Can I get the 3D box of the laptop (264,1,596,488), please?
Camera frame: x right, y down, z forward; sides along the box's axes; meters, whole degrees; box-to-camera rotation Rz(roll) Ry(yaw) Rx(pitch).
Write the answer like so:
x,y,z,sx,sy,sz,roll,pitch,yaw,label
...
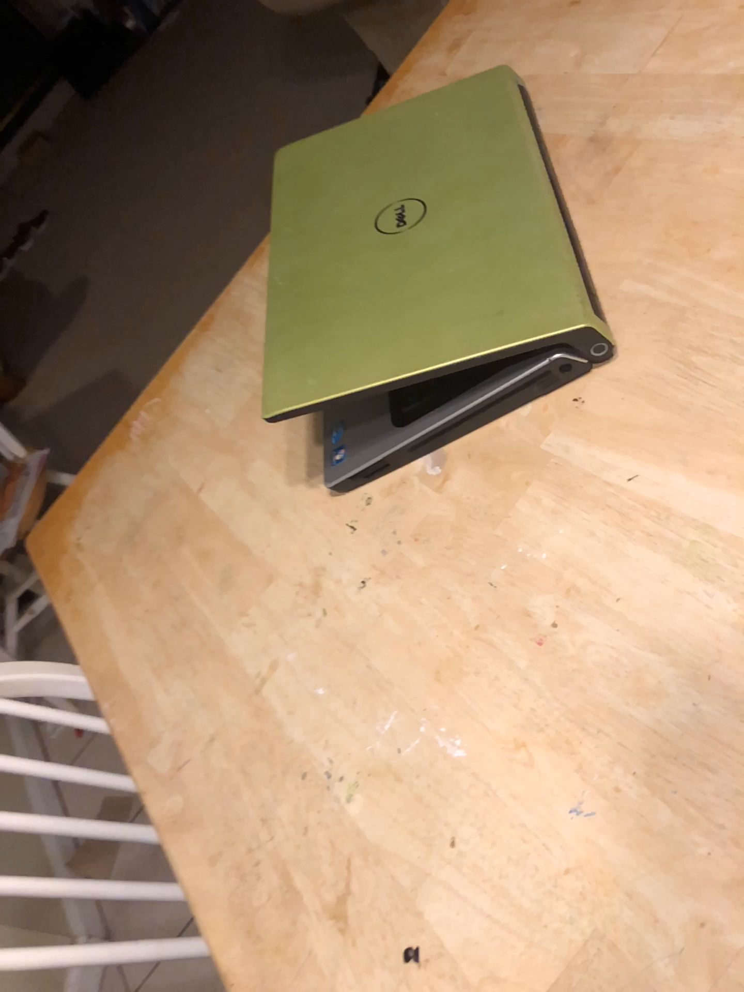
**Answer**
x,y,z,sx,sy,sz,roll,pitch,yaw,label
0.030,-0.214,0.667,0.227,0.076,0.360,-28,45,29,laptop
